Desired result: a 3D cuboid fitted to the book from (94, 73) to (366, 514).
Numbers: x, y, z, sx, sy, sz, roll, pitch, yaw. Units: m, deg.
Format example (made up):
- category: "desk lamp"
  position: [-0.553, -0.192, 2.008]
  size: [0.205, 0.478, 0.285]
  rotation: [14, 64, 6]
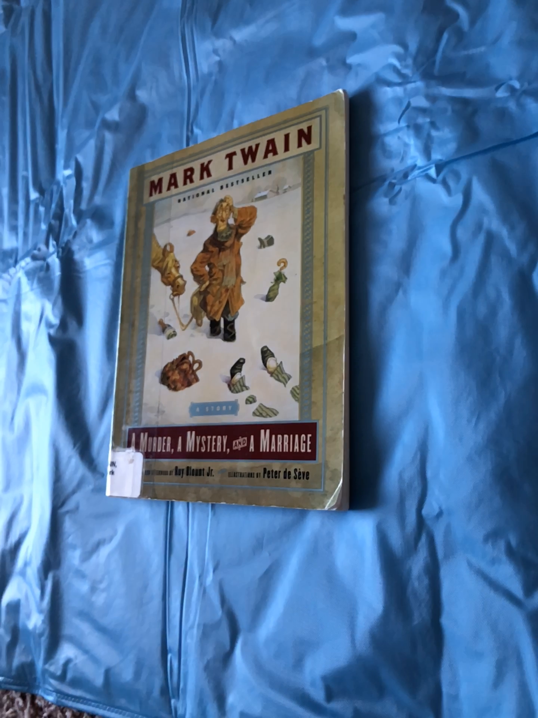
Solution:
- category: "book"
  position: [-0.025, -0.029, 0.327]
  size: [0.161, 0.020, 0.210]
  rotation: [-6, 77, 34]
